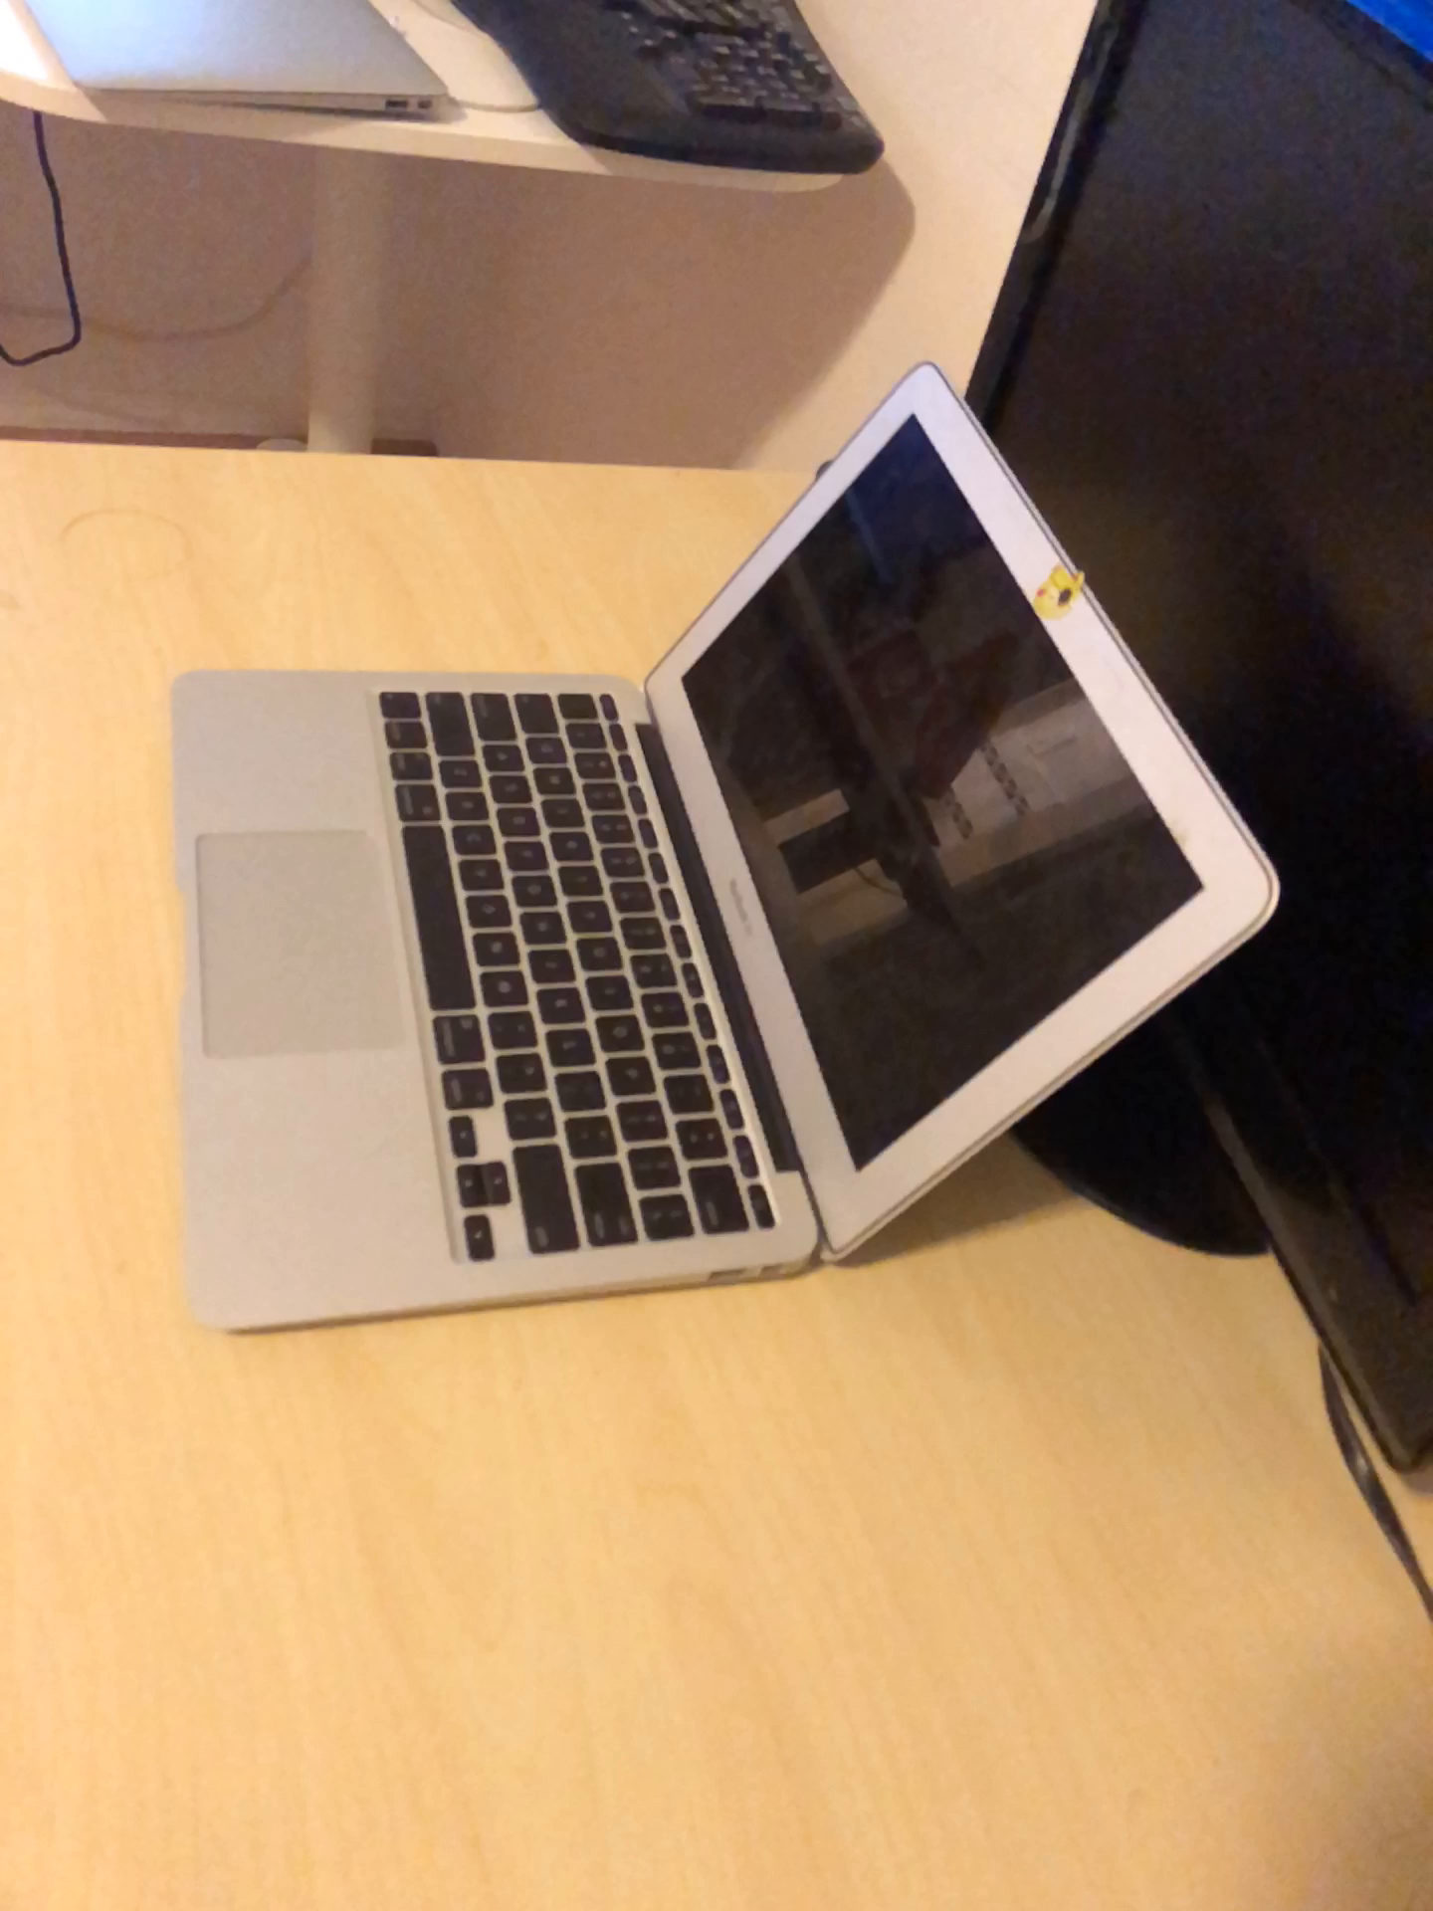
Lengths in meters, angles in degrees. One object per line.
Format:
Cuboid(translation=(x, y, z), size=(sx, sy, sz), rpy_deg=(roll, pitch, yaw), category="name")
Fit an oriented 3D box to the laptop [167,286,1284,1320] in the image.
Cuboid(translation=(-0.032, -0.062, 0.523), size=(0.274, 0.160, 0.292), rpy_deg=(-2, 48, -19), category="laptop")
